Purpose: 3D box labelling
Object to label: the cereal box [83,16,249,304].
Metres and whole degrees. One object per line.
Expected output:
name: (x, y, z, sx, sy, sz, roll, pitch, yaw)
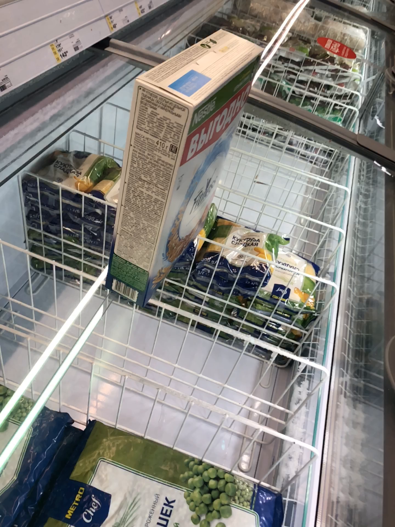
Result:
cereal box: (-0.042, -0.114, 0.506, 0.060, 0.268, 0.201, 27, 45, 8)
